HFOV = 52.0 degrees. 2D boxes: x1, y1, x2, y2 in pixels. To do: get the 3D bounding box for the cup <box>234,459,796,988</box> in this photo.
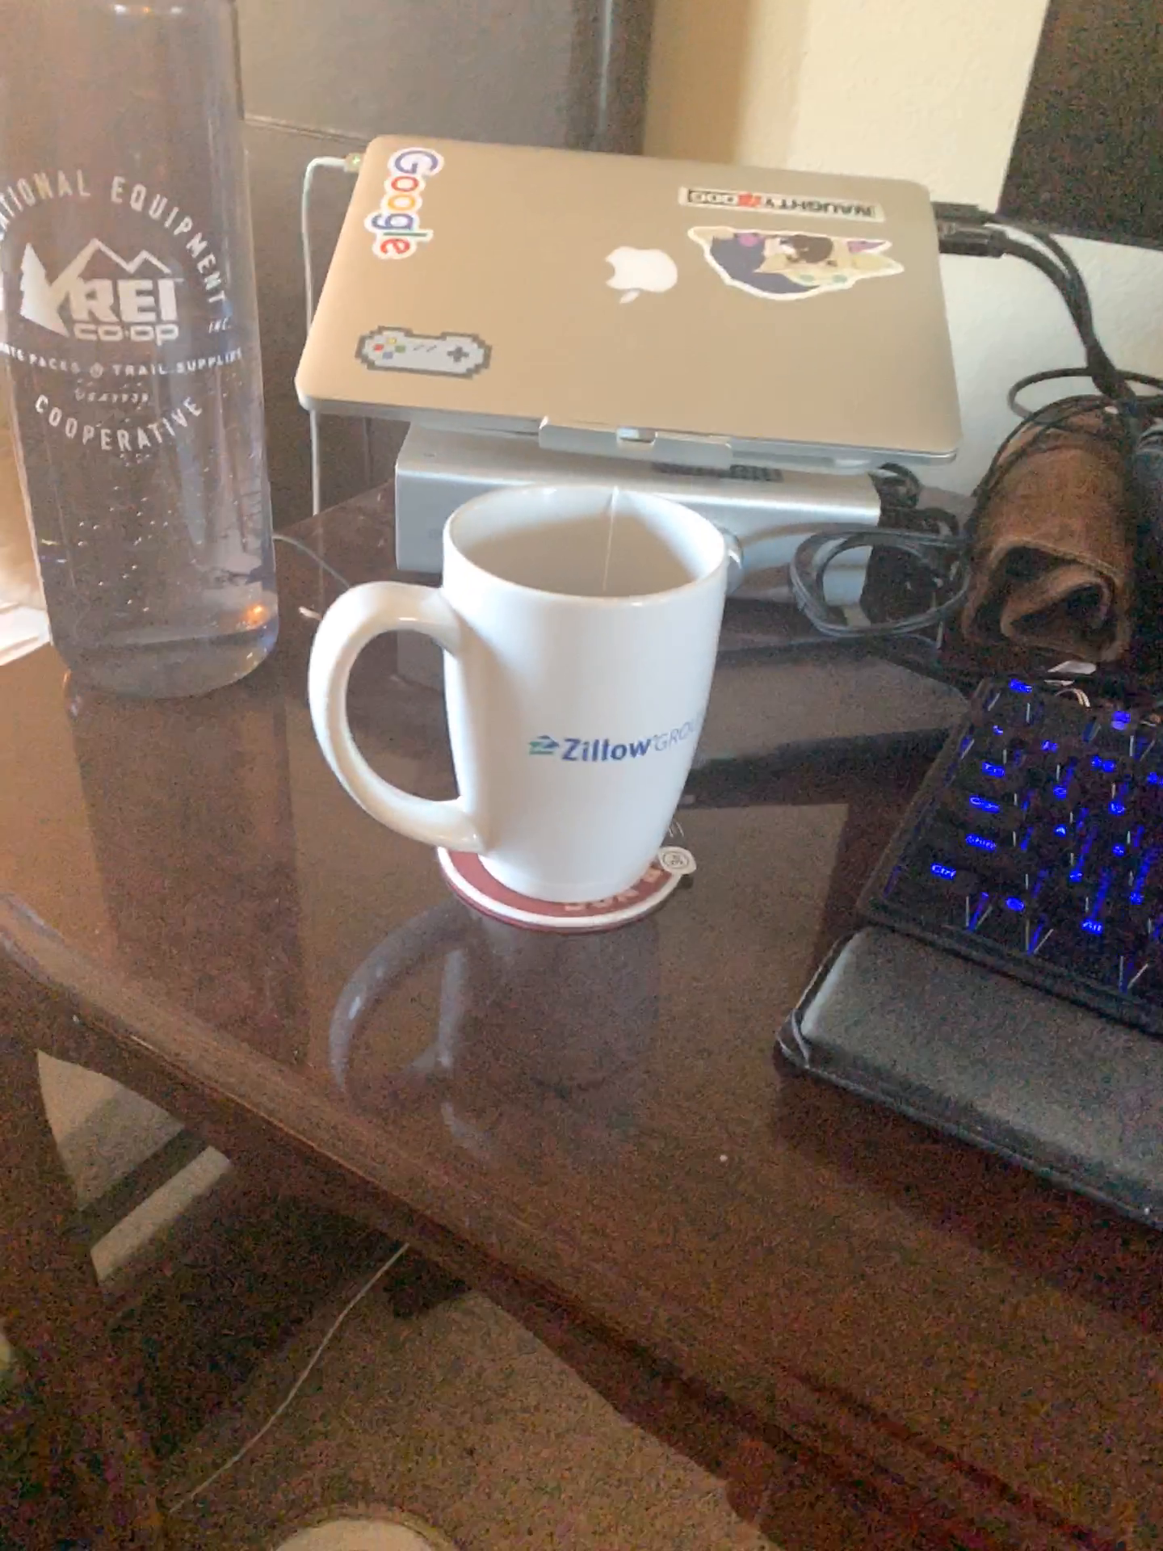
[{"bbox_3d":[-0.023,-0.025,0.375,0.130,0.099,0.100,-19,42,-30],"label":"cup"}]
